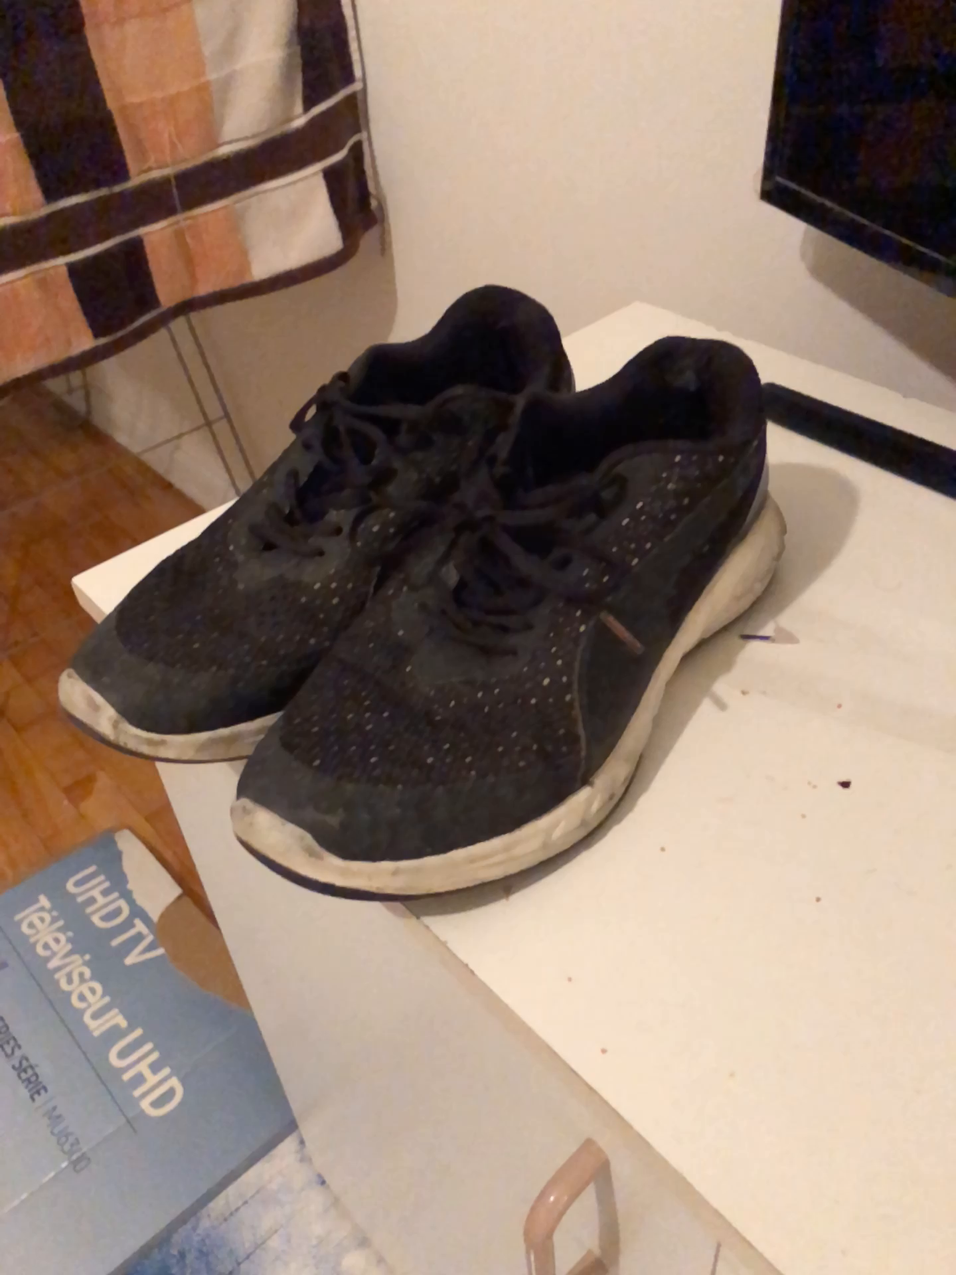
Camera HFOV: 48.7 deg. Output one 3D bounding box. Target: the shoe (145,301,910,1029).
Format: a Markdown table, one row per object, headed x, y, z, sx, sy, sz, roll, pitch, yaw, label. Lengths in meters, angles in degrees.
| x | y | z | sx | sy | sz | roll | pitch | yaw | label |
| --- | --- | --- | --- | --- | --- | --- | --- | --- | --- |
| 0.042 | -0.019 | 0.421 | 0.120 | 0.099 | 0.310 | 25 | 49 | 31 | shoe |

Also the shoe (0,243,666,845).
| x | y | z | sx | sy | sz | roll | pitch | yaw | label |
| --- | --- | --- | --- | --- | --- | --- | --- | --- | --- |
| -0.052 | -0.067 | 0.474 | 0.120 | 0.099 | 0.310 | 25 | 49 | 31 | shoe |
